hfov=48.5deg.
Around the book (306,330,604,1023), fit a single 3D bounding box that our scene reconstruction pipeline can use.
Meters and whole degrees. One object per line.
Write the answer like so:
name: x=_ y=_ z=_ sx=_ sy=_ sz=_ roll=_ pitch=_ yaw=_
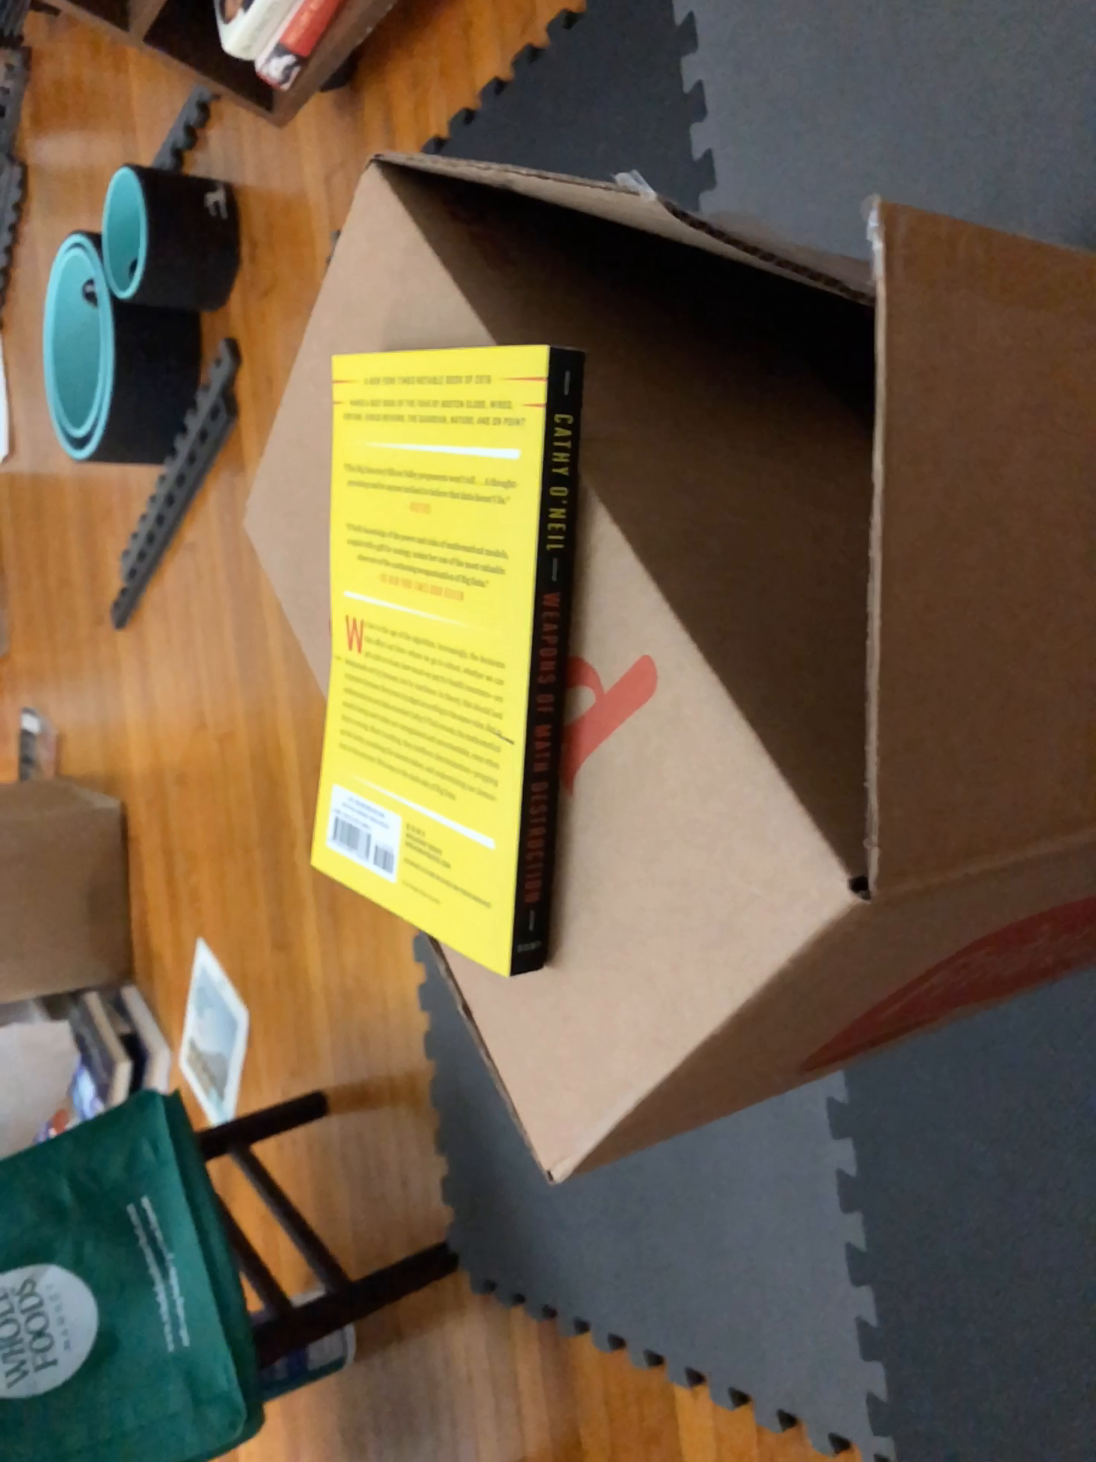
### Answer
book: x=-0.043 y=-0.027 z=0.445 sx=0.151 sy=0.020 sz=0.220 roll=19 pitch=110 yaw=51
